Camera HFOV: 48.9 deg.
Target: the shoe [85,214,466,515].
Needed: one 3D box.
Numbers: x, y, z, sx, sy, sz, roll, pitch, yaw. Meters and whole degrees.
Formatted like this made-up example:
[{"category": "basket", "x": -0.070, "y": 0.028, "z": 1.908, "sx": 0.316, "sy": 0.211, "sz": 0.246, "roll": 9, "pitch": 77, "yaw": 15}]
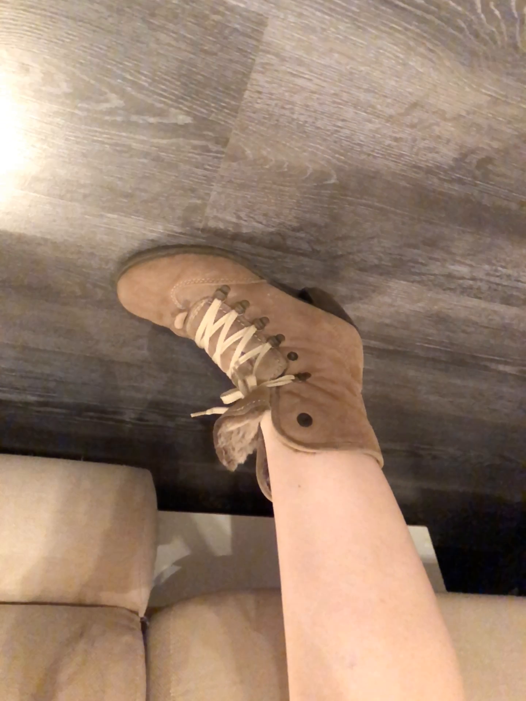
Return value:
[{"category": "shoe", "x": 0.004, "y": 0.017, "z": 0.538, "sx": 0.290, "sy": 0.209, "sz": 0.110, "roll": 11, "pitch": 135, "yaw": -20}]
